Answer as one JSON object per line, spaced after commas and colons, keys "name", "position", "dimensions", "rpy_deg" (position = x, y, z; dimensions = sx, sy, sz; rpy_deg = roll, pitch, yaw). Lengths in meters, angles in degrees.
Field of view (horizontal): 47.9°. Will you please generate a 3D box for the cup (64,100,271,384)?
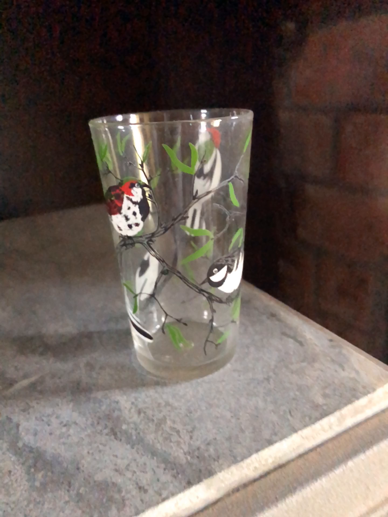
{"name": "cup", "position": [-0.006, -0.010, 0.196], "dimensions": [0.070, 0.109, 0.060], "rpy_deg": [-3, 22, 1]}
